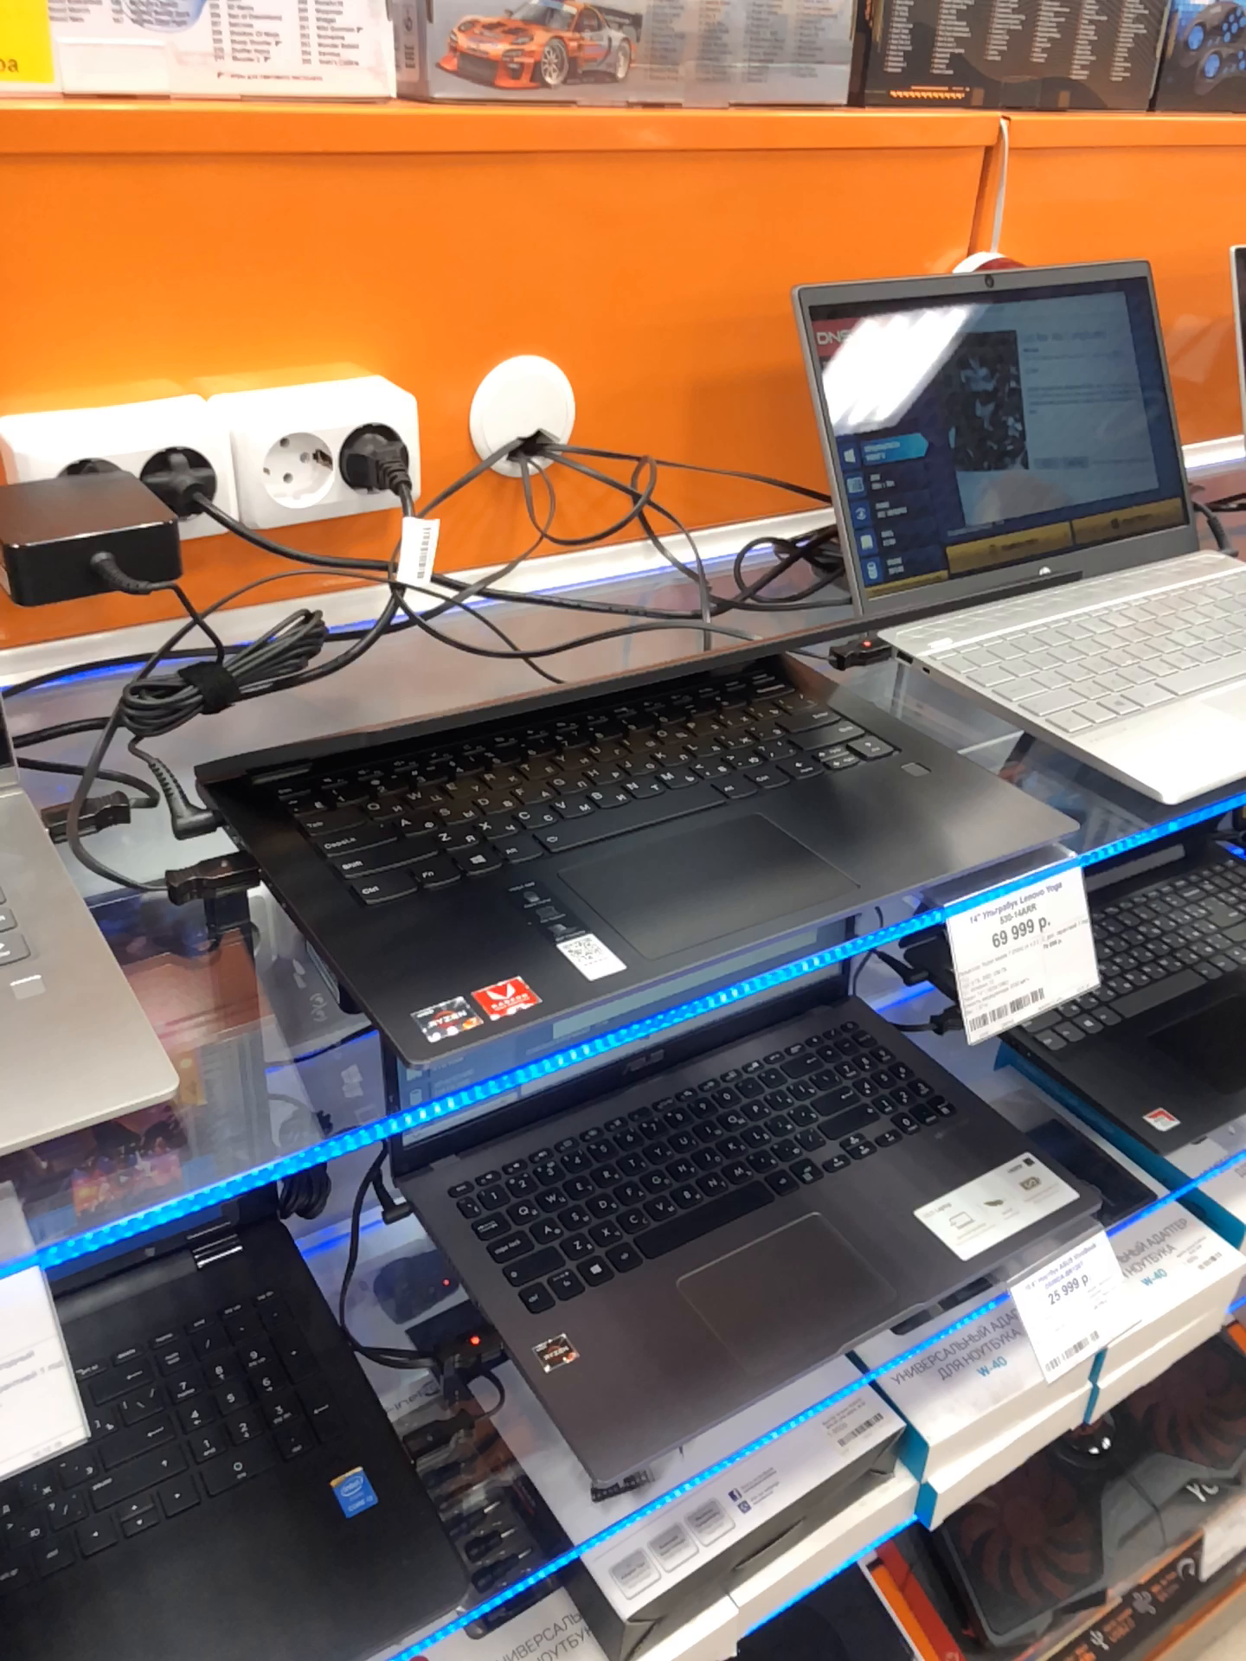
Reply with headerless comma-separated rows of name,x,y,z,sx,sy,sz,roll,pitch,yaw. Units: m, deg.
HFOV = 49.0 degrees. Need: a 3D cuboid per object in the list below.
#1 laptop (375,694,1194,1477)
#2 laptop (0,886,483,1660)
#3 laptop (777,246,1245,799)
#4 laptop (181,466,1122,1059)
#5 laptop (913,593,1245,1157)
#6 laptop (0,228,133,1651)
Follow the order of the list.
laptop,0.078,0.115,0.792,0.354,0.236,0.256,-17,36,-28
laptop,-0.288,0.227,0.555,0.374,0.223,0.266,-16,36,-31
laptop,0.305,-0.203,0.784,0.283,0.162,0.318,-17,38,-27
laptop,0.011,-0.057,0.588,0.324,0.102,0.214,-16,37,-30
laptop,0.436,0.008,0.984,0.345,0.229,0.254,-15,35,-27
laptop,-0.345,-0.034,0.395,0.311,0.219,0.268,-15,36,-31
